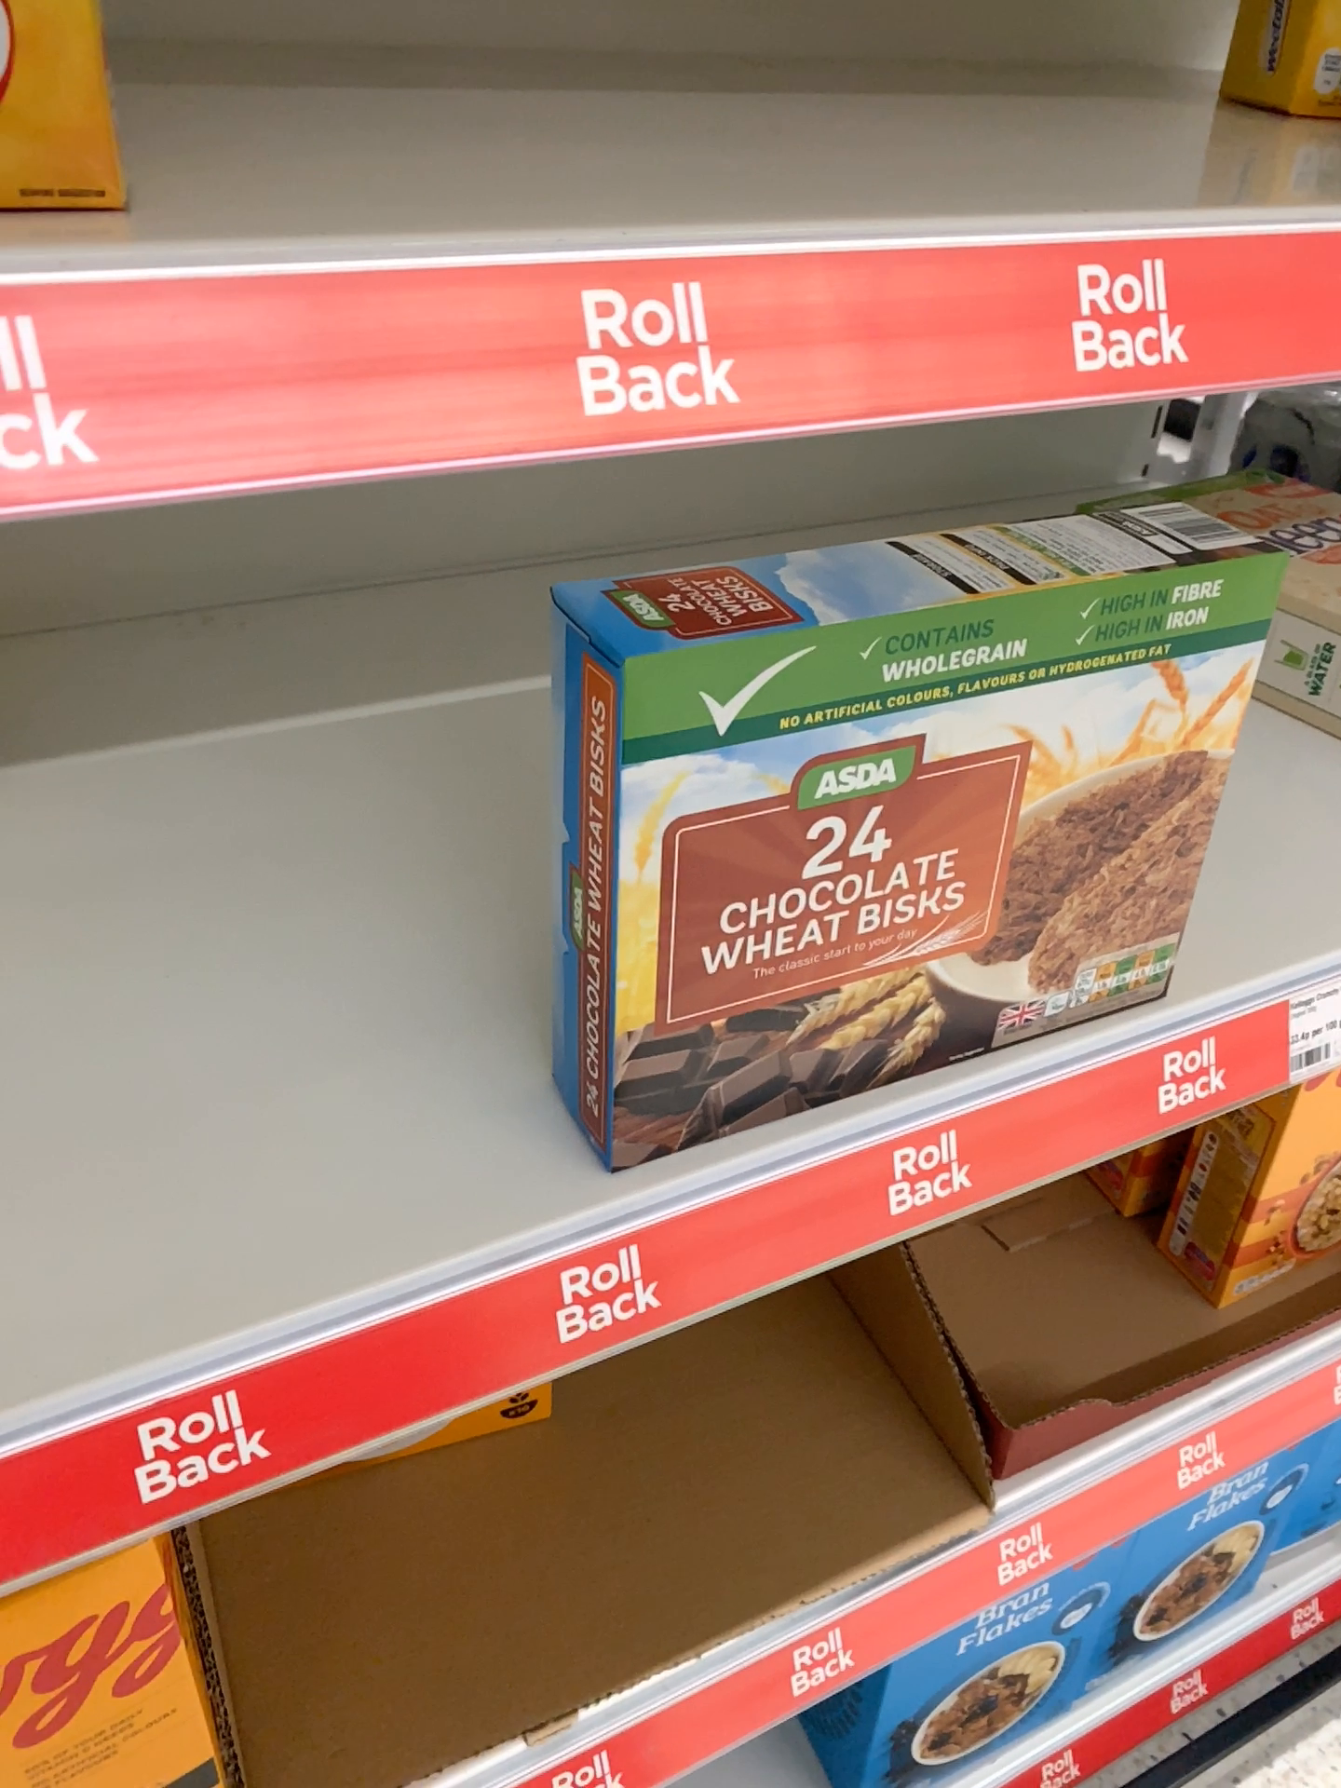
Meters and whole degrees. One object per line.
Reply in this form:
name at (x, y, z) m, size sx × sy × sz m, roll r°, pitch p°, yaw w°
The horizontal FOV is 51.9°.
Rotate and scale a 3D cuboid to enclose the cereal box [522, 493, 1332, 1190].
cereal box at (0.080, -0.025, 0.466) m, size 0.251 × 0.178 × 0.070 m, roll -13°, pitch 37°, yaw -24°
